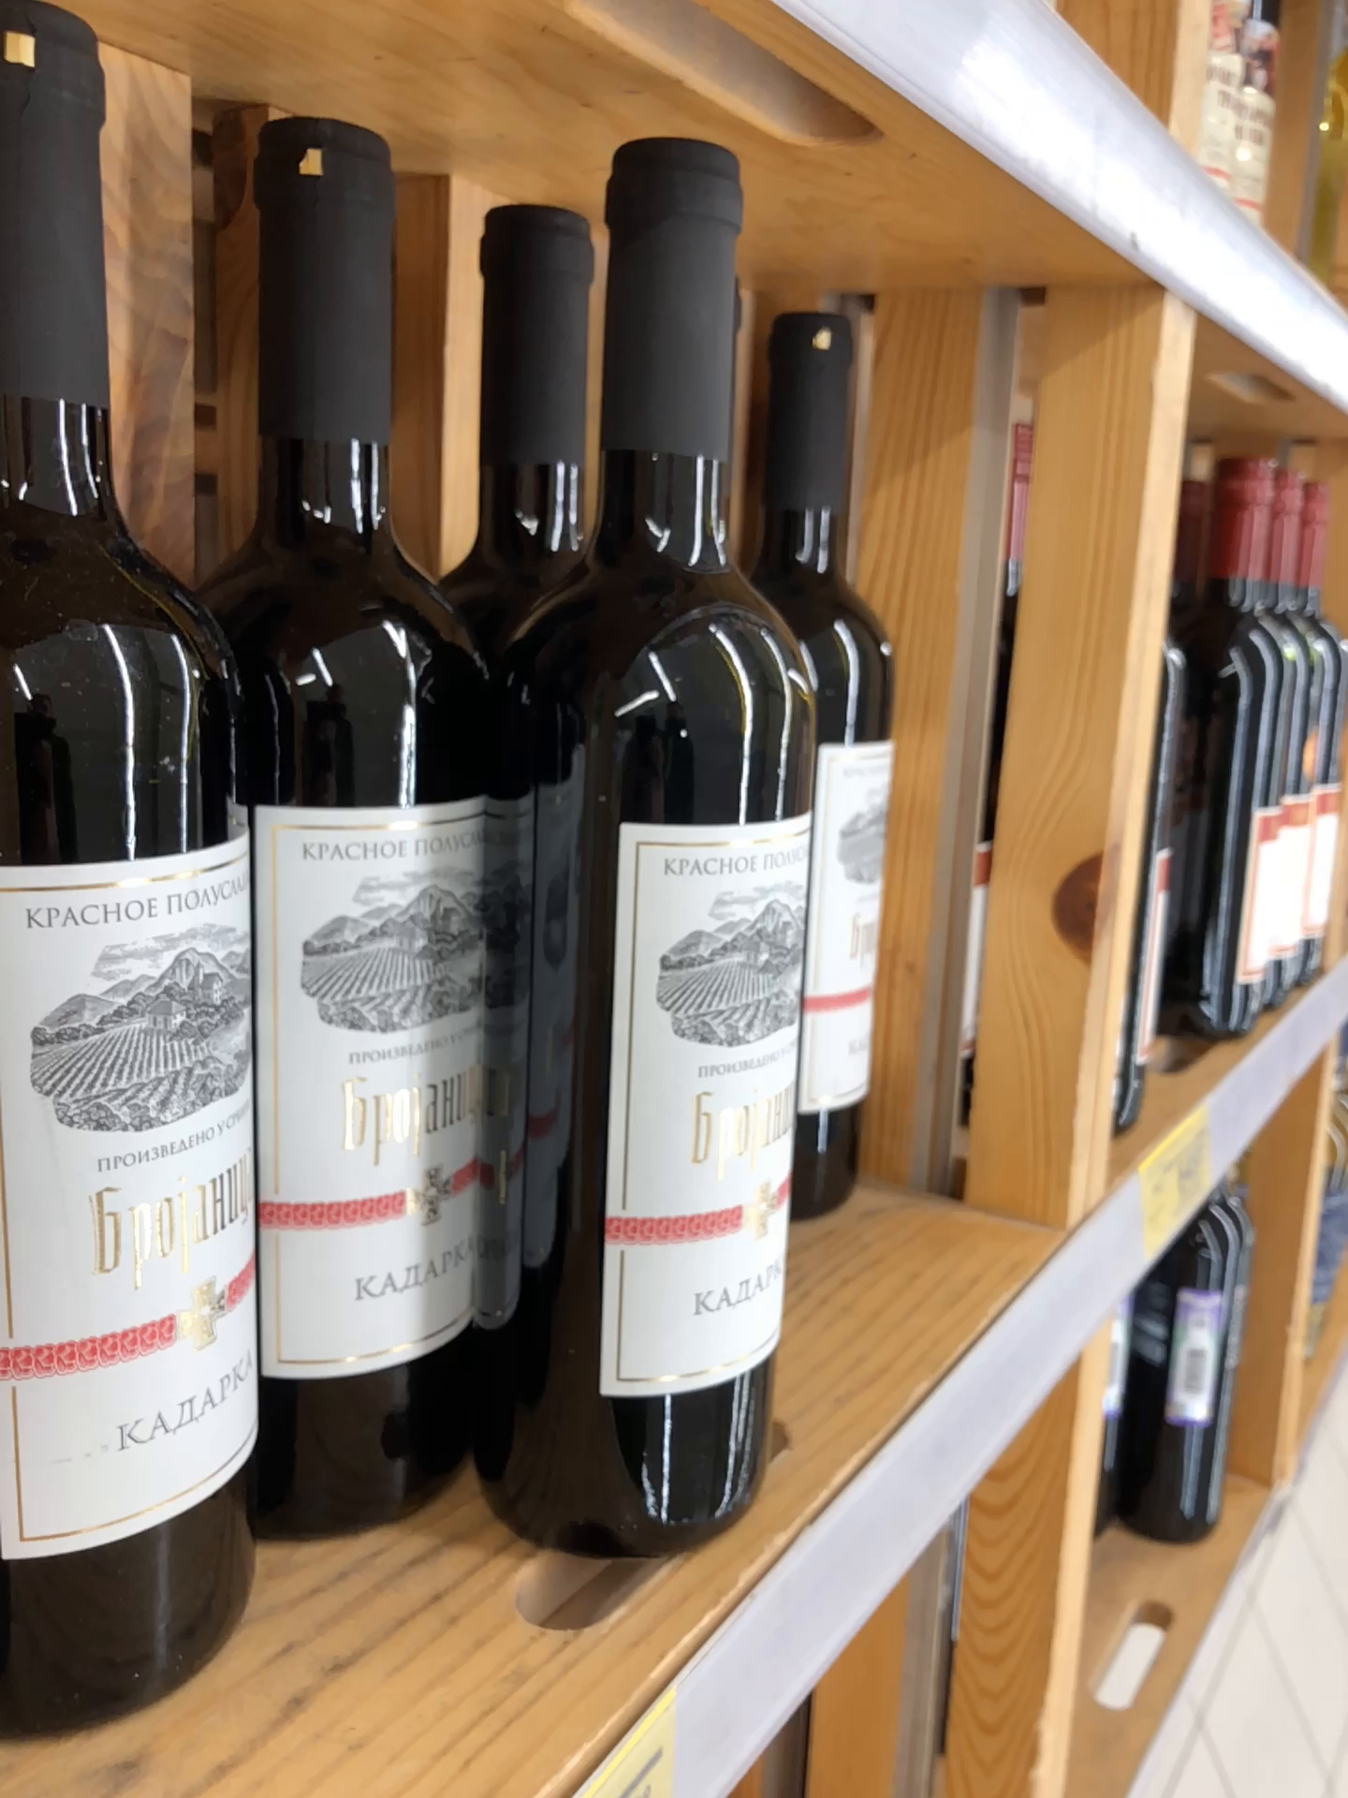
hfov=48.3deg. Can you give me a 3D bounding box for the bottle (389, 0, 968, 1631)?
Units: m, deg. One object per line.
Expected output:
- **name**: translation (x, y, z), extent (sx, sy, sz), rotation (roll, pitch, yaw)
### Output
- **bottle**: translation (-0.003, -0.015, 0.325), extent (0.080, 0.080, 0.309), rotation (-17, 113, -56)
